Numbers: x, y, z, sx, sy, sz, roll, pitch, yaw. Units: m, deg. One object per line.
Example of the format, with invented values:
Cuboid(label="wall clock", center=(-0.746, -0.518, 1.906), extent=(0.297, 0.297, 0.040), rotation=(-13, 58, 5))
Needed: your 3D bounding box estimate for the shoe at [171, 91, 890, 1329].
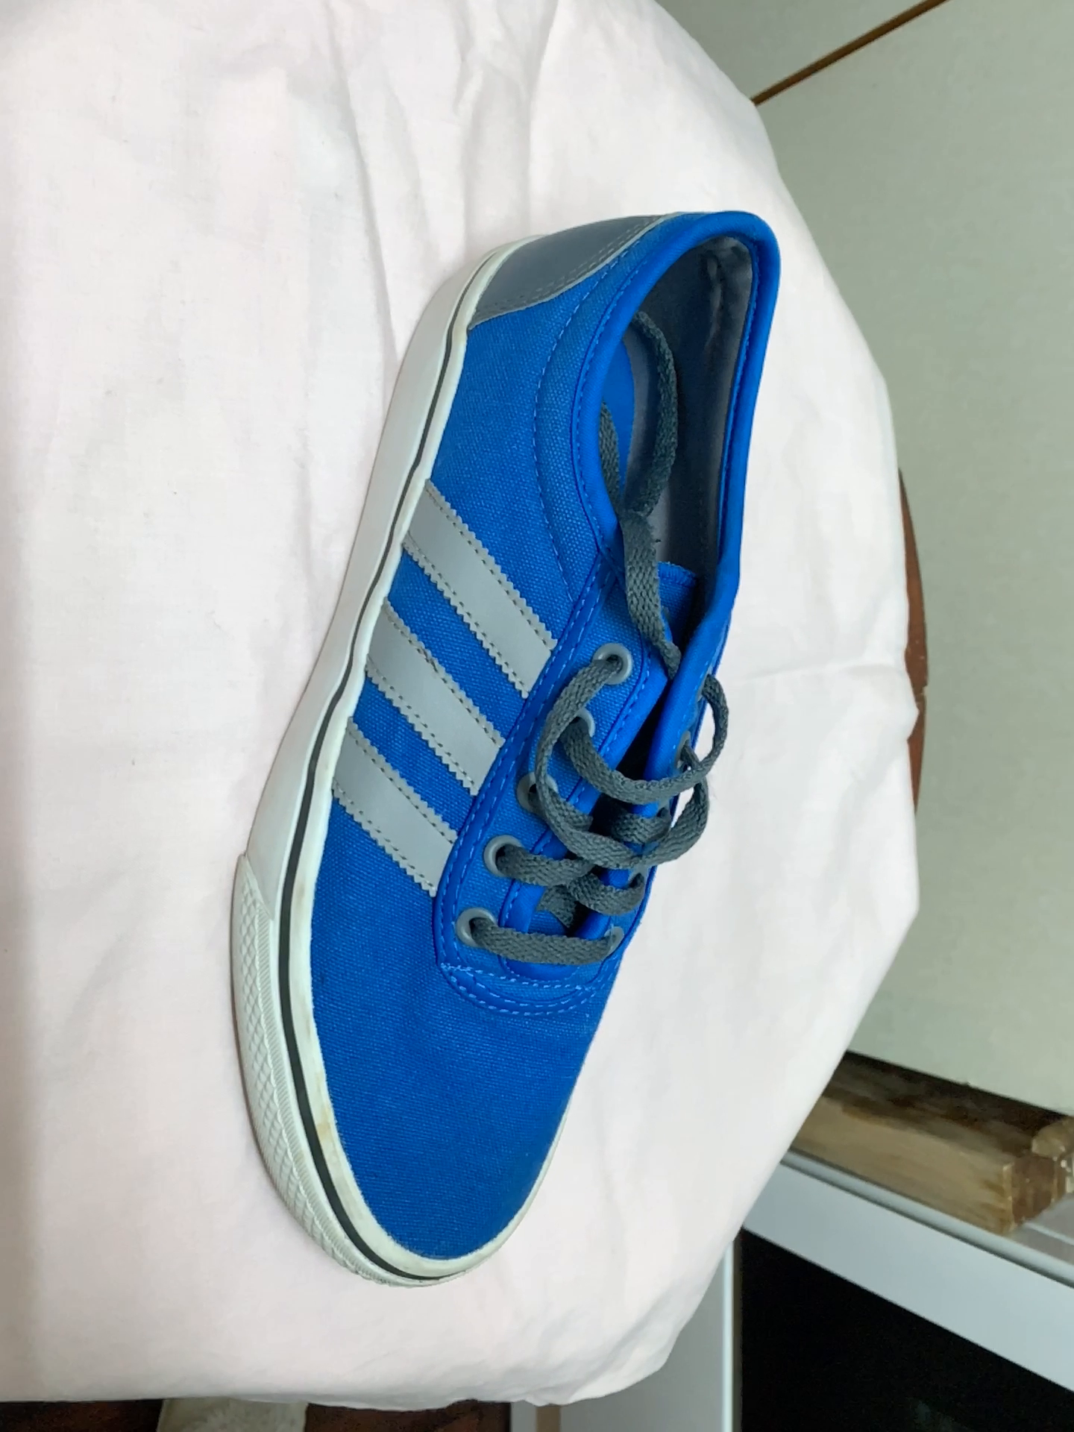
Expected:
Cuboid(label="shoe", center=(0.002, 0.001, 0.270), extent=(0.100, 0.090, 0.234), rotation=(16, 81, -37))
